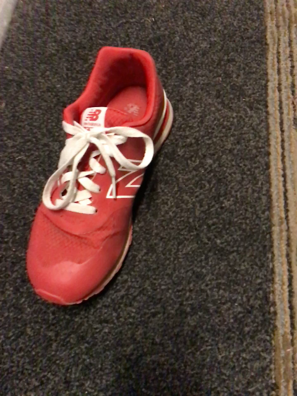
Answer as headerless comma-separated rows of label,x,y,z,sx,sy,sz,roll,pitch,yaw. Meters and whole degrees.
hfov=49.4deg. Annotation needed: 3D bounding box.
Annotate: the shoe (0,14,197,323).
shoe,-0.045,-0.029,0.309,0.100,0.108,0.257,18,71,10
